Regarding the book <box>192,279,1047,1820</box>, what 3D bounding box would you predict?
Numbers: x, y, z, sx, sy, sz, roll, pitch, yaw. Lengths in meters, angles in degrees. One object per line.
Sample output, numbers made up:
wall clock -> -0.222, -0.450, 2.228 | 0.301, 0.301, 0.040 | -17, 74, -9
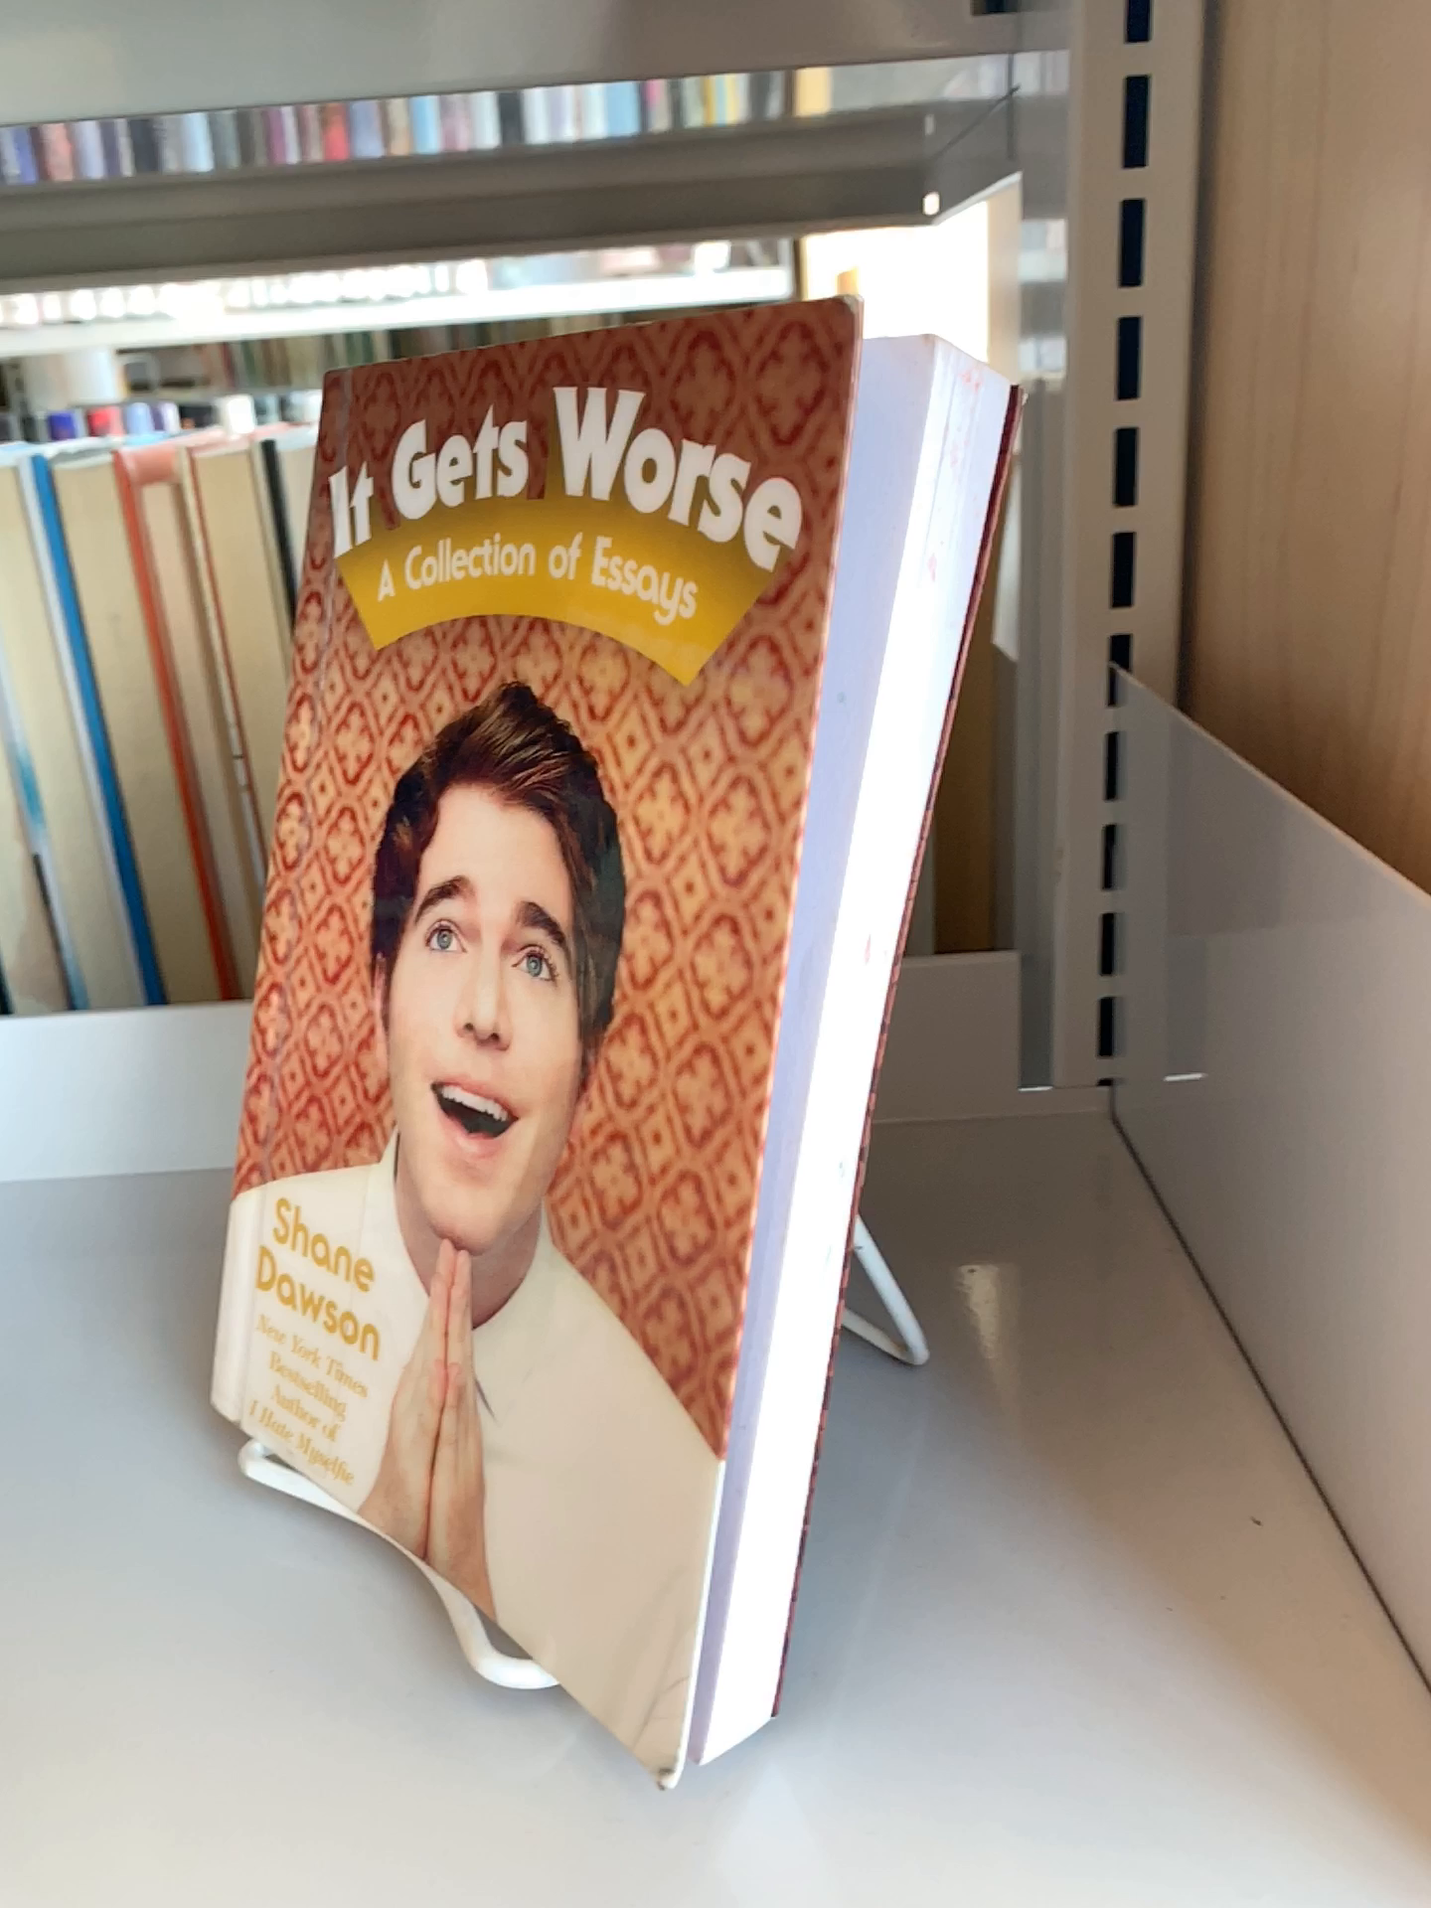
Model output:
book -> -0.033, 0.005, 0.254 | 0.149, 0.209, 0.030 | 16, 14, 40
